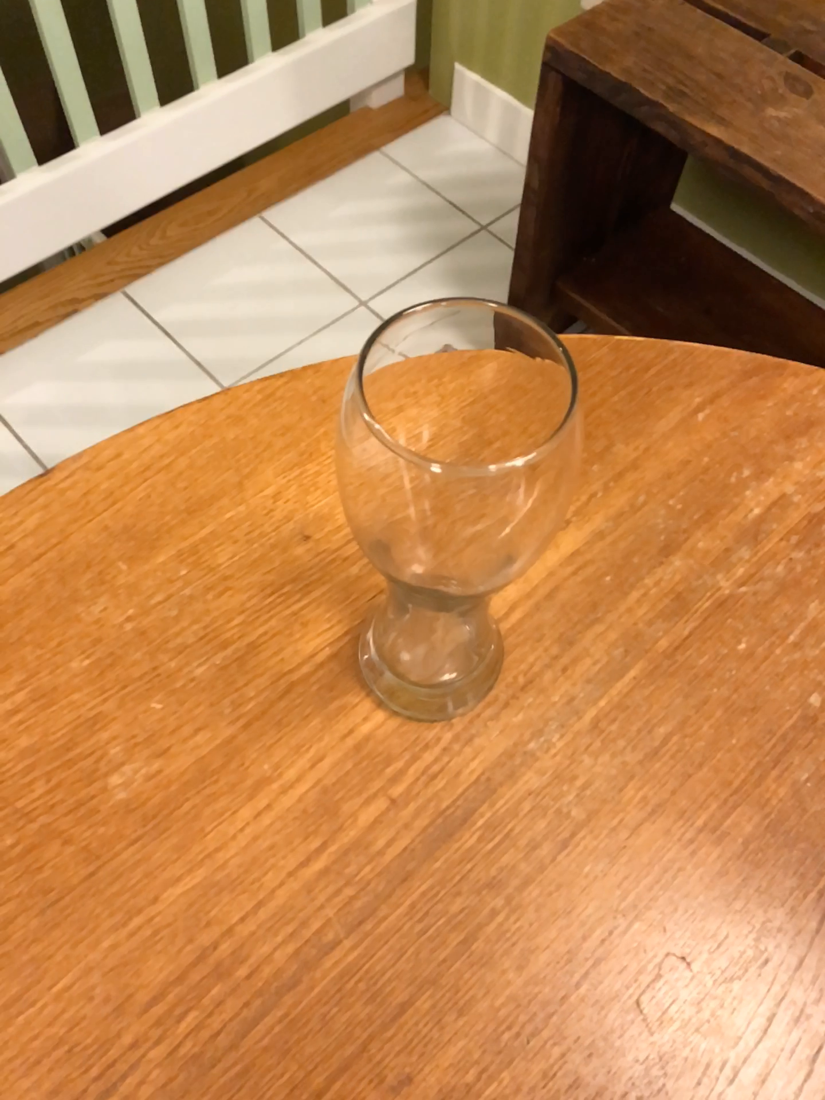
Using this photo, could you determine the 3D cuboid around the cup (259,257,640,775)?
[{"bbox_3d":[0.011,0.004,0.393,0.093,0.222,0.088,1,60,-2],"label":"cup"}]
